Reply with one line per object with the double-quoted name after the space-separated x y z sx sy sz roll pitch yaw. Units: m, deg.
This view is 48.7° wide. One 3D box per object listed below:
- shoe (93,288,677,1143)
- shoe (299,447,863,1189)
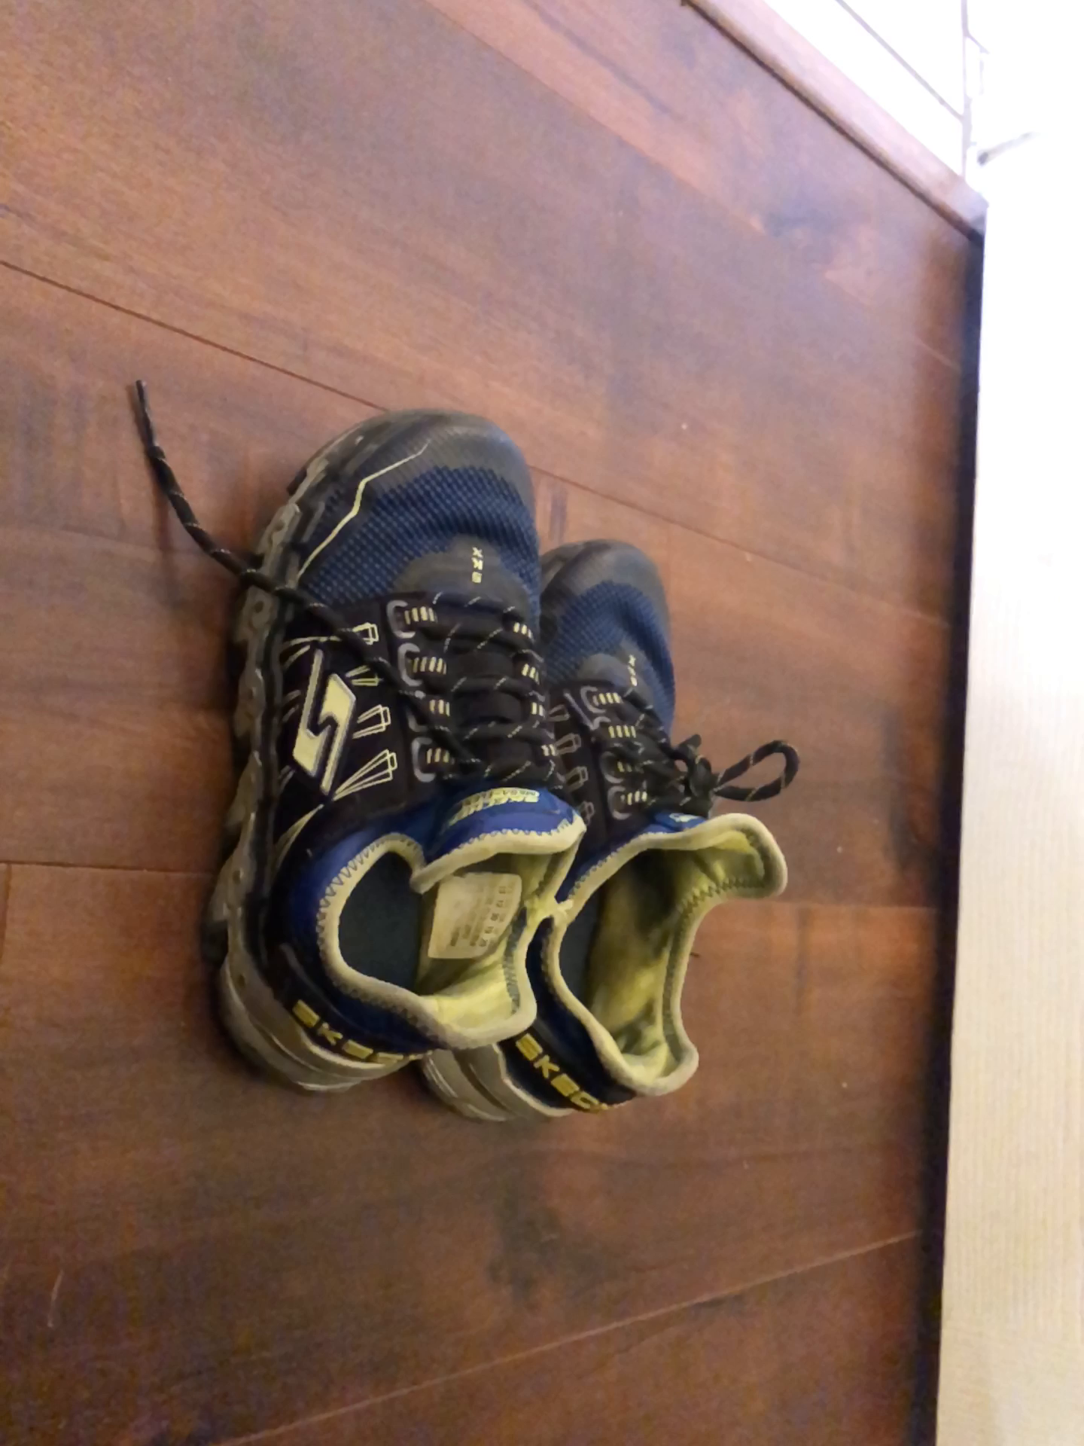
-0.045 0.006 0.363 0.100 0.119 0.210 16 74 -42 "shoe"
0.019 0.034 0.417 0.100 0.119 0.210 29 66 -38 "shoe"
